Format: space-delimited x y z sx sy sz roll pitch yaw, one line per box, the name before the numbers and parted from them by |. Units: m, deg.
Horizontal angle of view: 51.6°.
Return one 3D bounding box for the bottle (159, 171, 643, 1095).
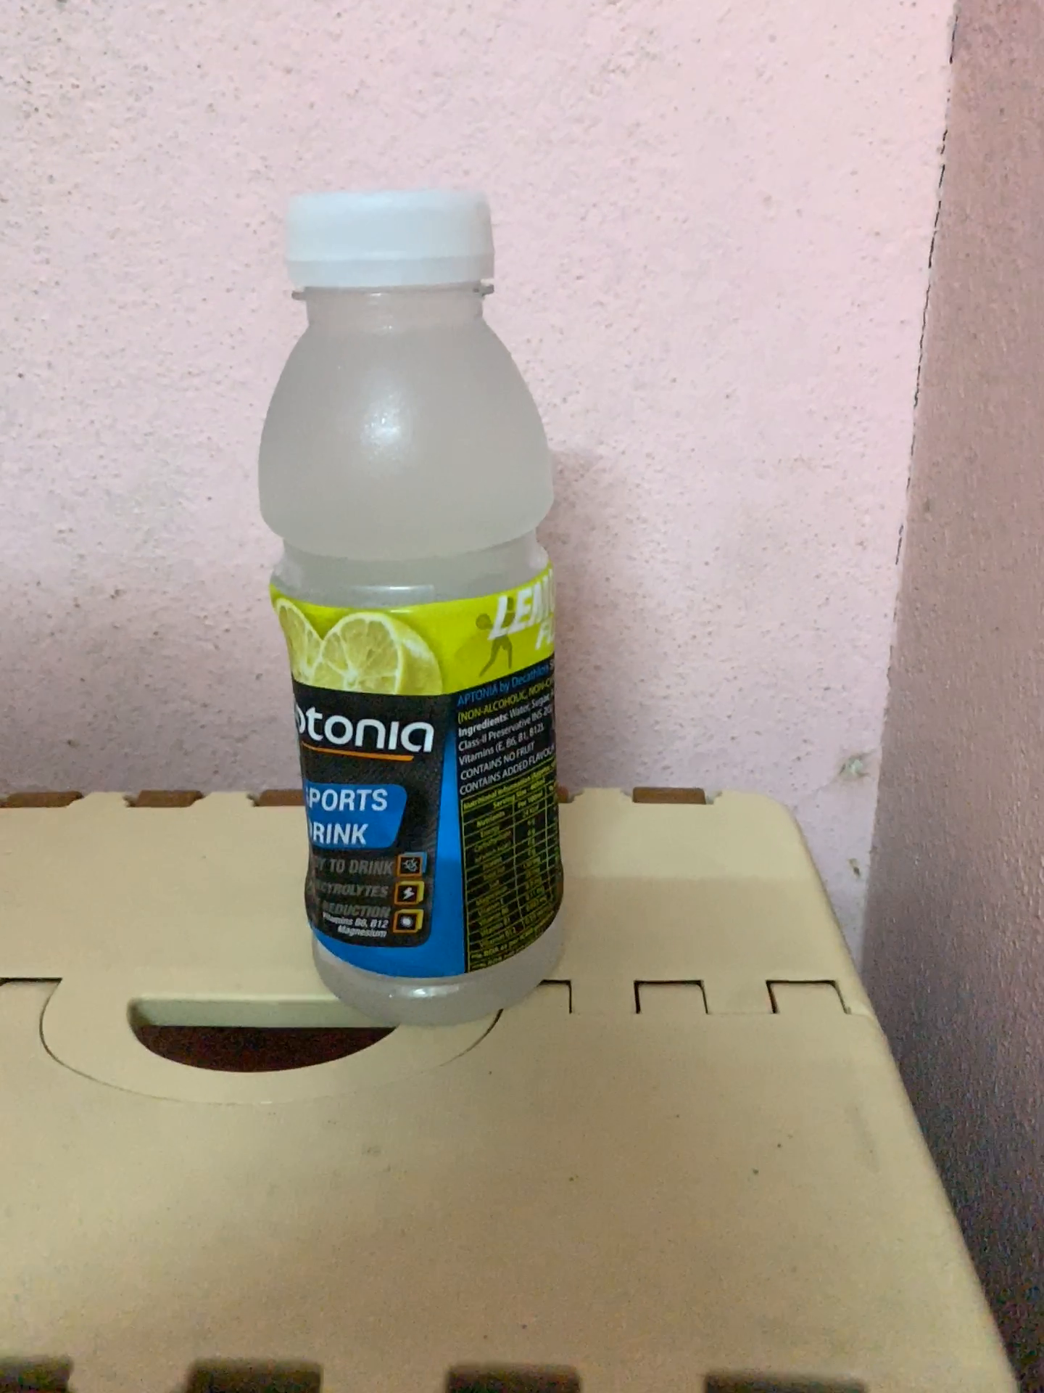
bottle | -0.019 -0.014 0.240 0.070 0.179 0.060 11 25 29
